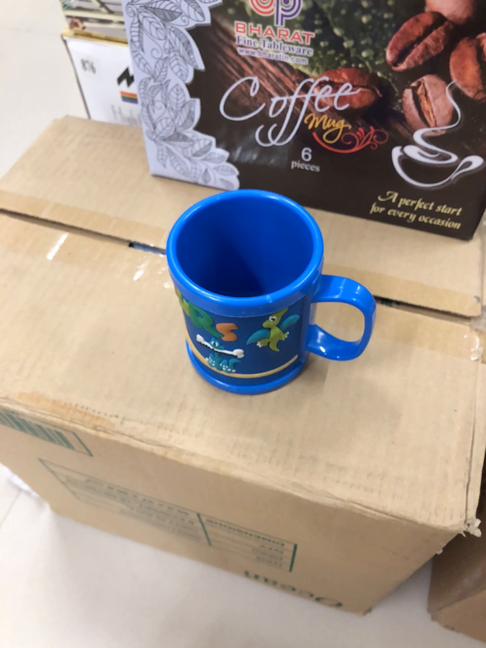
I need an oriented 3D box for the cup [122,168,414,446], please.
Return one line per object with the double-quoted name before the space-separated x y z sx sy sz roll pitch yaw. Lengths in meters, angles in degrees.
"cup" 0.016 -0.010 0.308 0.120 0.089 0.091 19 58 15
